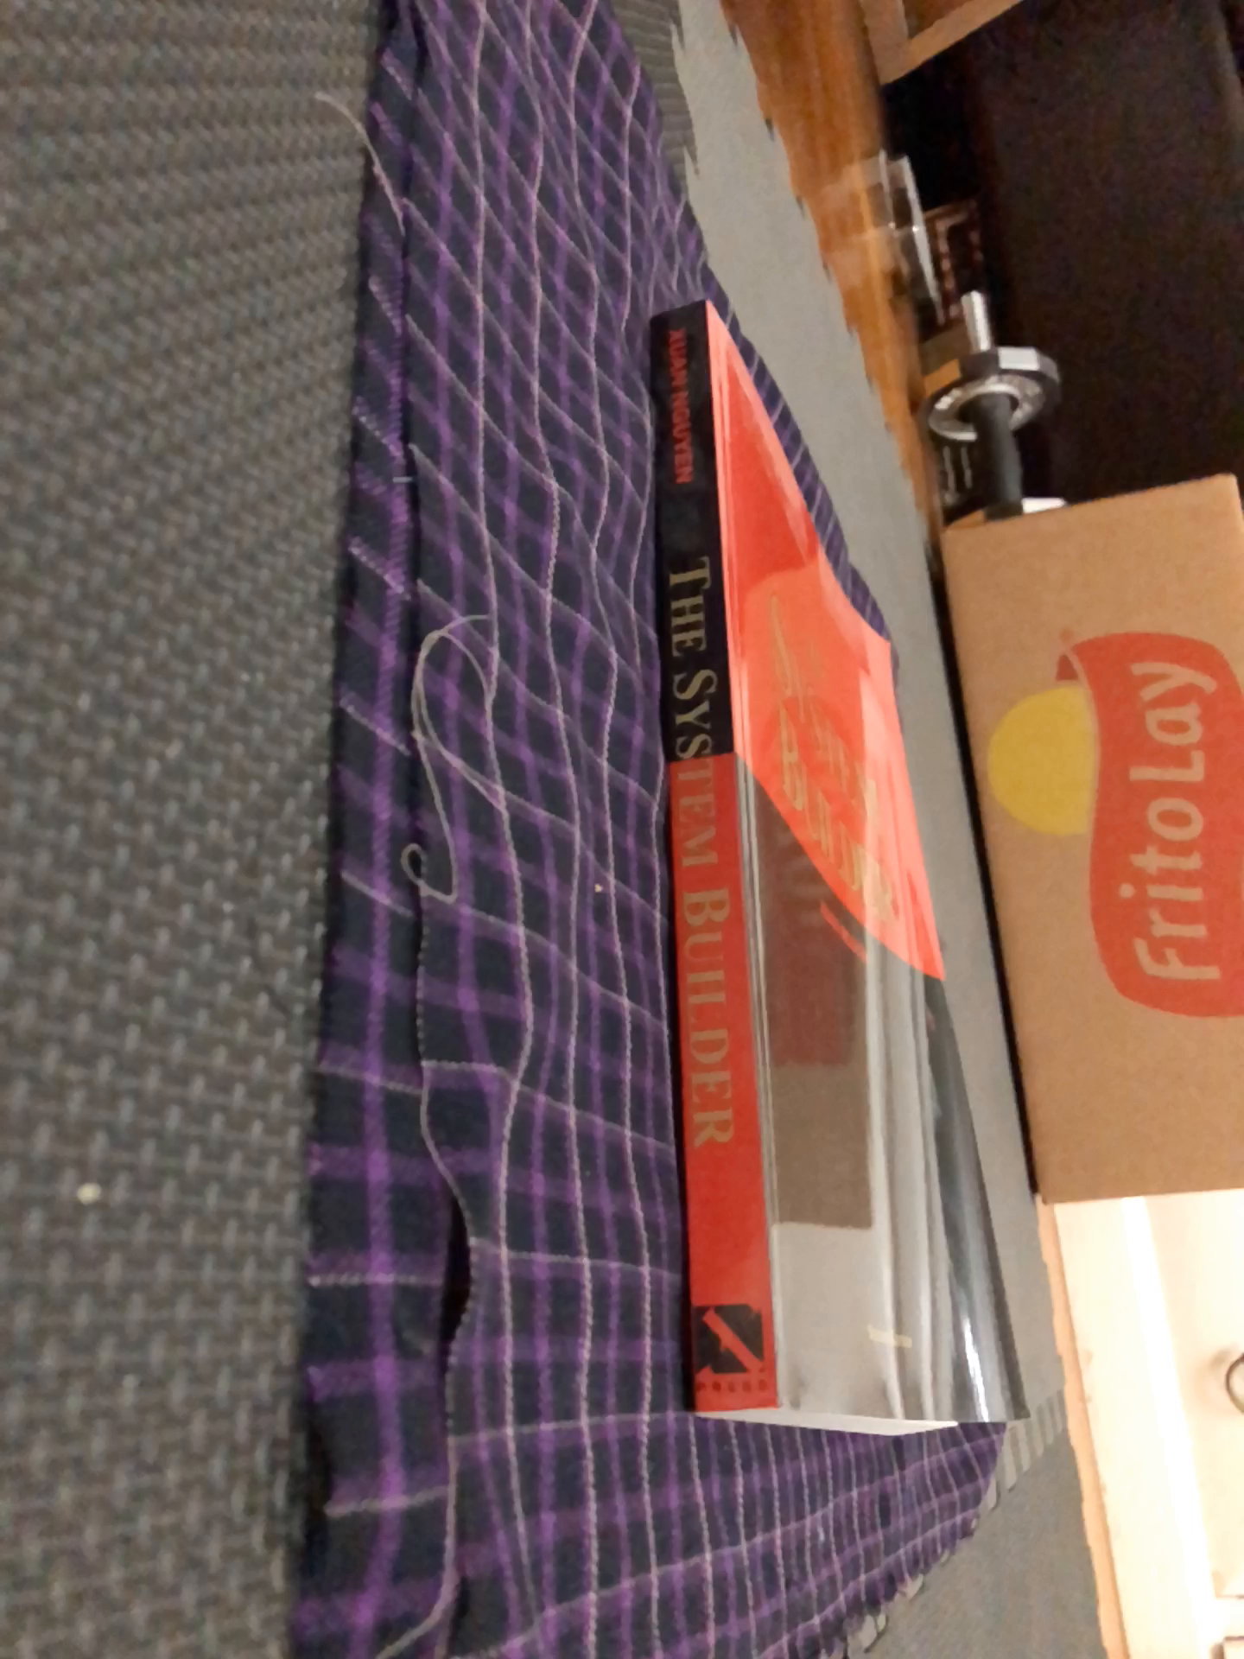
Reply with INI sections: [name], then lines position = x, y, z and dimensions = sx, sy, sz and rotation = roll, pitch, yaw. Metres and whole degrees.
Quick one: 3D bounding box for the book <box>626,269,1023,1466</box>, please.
[book]
position = 0.057, 0.024, 0.366
dimensions = 0.201, 0.030, 0.260
rotation = 45, 38, -57
